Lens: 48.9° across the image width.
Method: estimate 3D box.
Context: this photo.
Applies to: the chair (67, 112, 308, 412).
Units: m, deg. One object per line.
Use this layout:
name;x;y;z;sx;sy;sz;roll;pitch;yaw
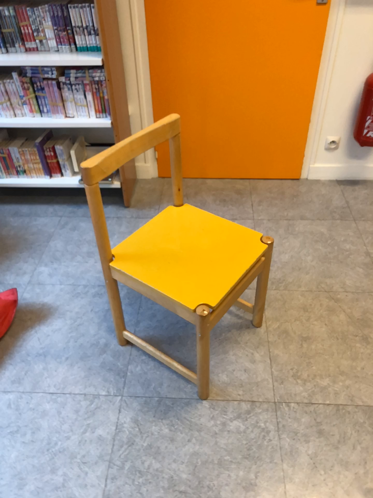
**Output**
chair;0.024;0.029;1.239;0.420;0.666;0.452;24;46;27
